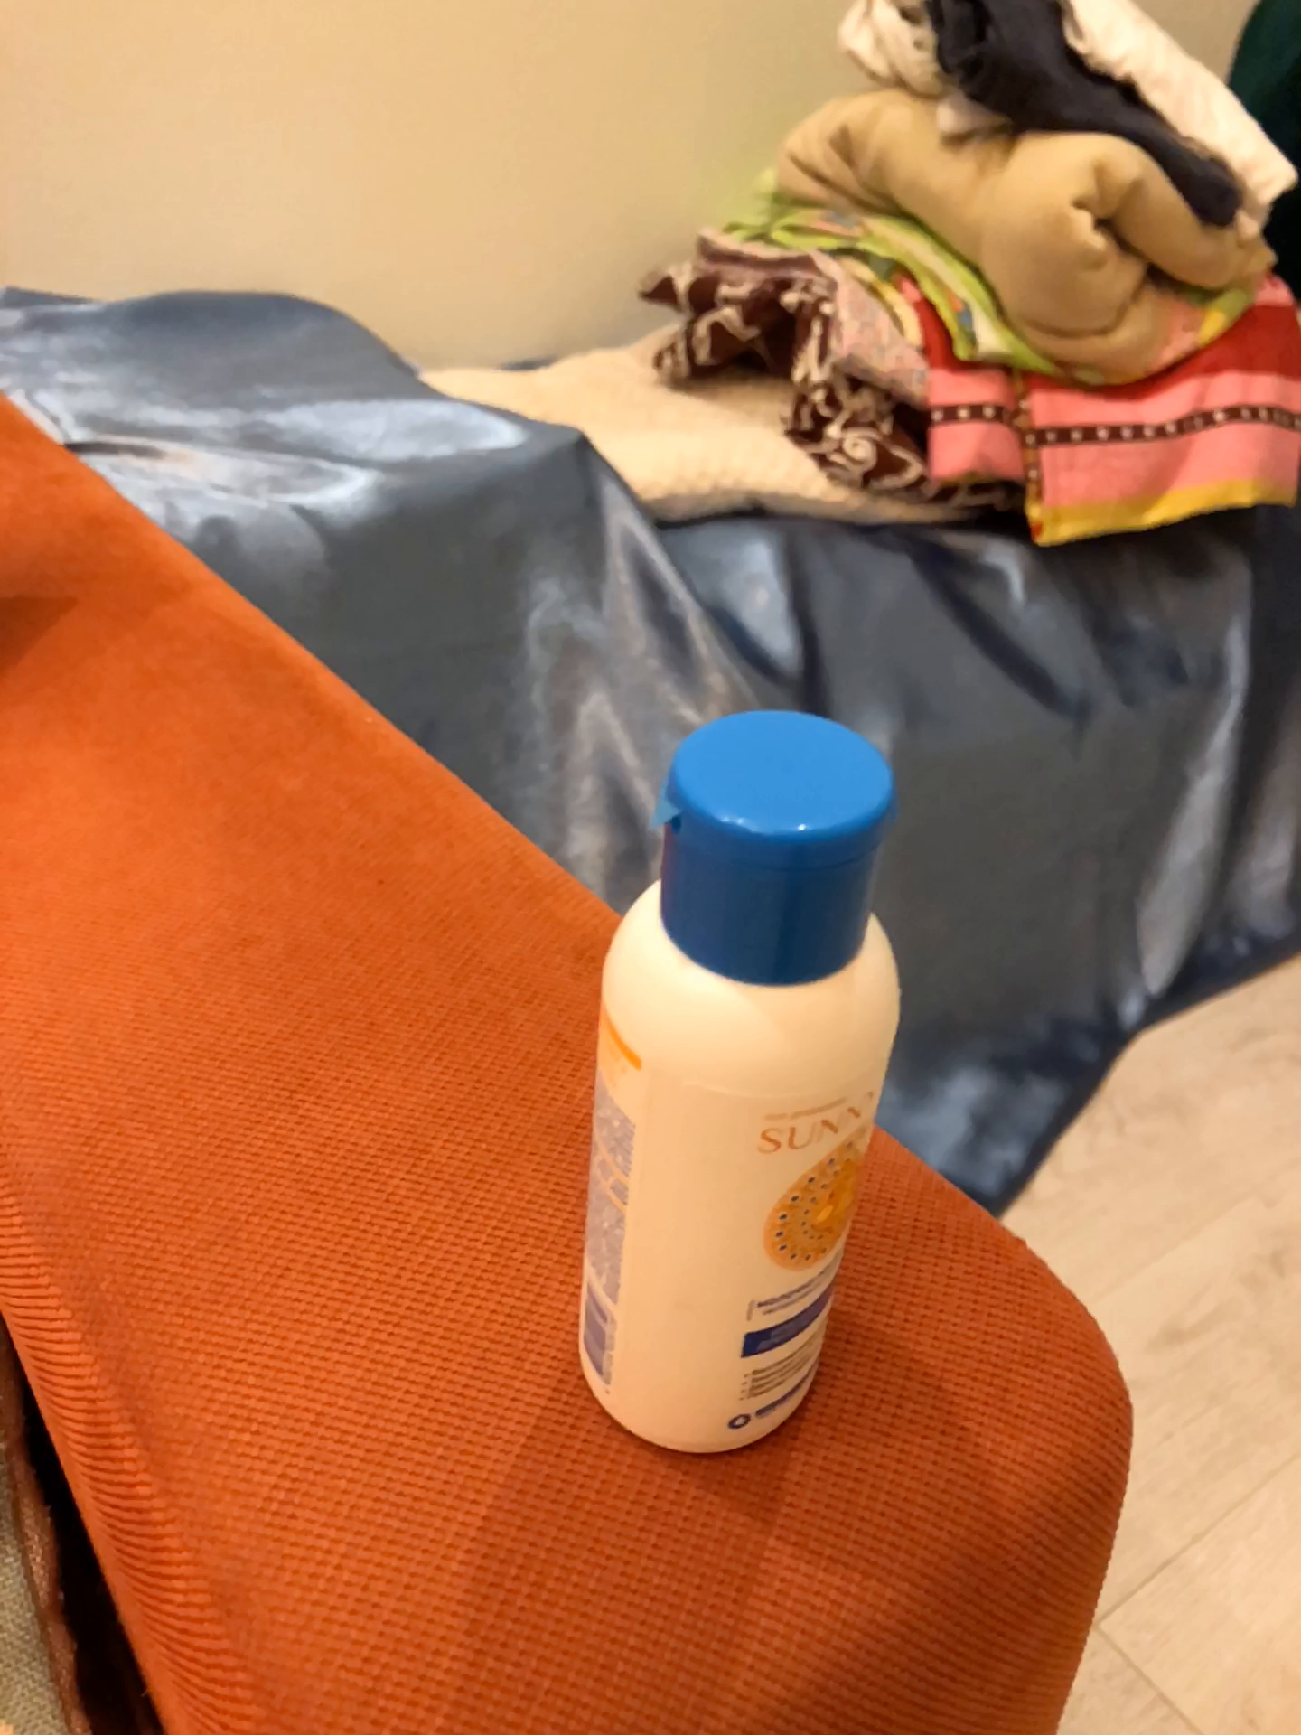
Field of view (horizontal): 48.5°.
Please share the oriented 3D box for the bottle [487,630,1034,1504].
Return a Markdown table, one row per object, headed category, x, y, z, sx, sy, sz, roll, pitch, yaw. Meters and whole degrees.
| category | x | y | z | sx | sy | sz | roll | pitch | yaw |
| --- | --- | --- | --- | --- | --- | --- | --- | --- | --- |
| bottle | 0.011 | 0.031 | 0.207 | 0.044 | 0.111 | 0.047 | 6 | 36 | -4 |
